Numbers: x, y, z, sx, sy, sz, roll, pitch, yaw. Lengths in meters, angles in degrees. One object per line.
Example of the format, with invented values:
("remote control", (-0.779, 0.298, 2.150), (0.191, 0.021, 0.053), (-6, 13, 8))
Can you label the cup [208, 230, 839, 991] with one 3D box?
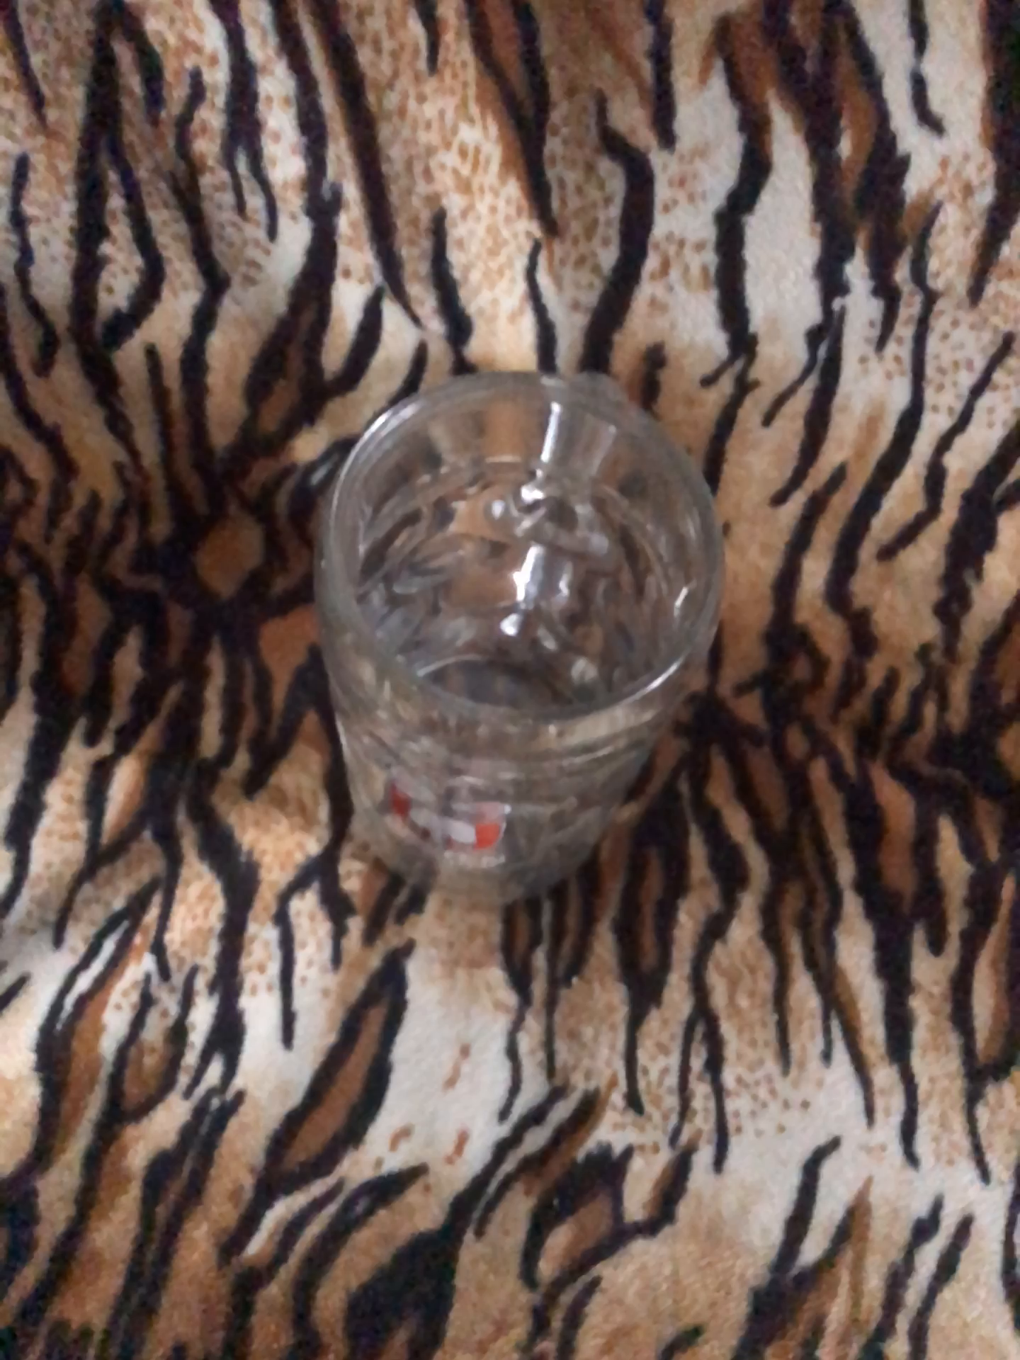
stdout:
("cup", (0.006, -0.008, 0.387), (0.120, 0.195, 0.150), (21, 64, 7))
